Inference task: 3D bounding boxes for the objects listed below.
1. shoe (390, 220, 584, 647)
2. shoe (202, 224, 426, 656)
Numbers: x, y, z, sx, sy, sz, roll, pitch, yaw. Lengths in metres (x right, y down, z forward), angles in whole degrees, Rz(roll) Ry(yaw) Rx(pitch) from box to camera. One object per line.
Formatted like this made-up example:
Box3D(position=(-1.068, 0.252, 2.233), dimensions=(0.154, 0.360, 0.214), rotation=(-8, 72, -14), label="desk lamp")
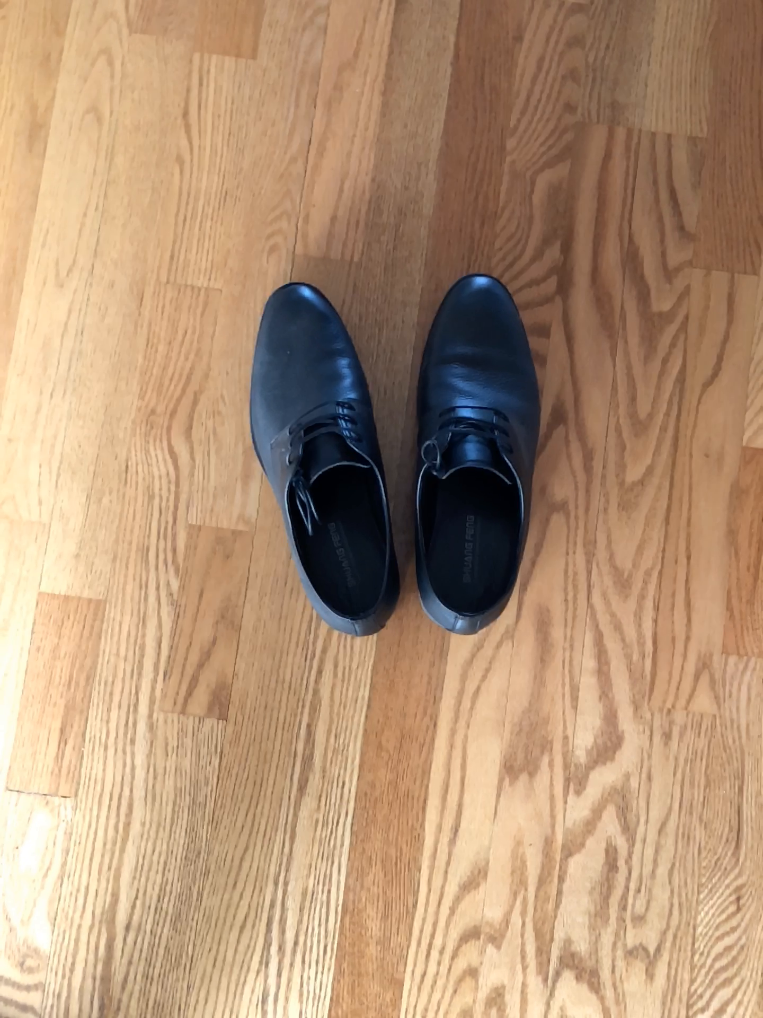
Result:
Box3D(position=(0.077, -0.051, 0.659), dimensions=(0.110, 0.124, 0.299), rotation=(6, 83, 1), label="shoe")
Box3D(position=(-0.051, -0.048, 0.672), dimensions=(0.110, 0.124, 0.304), rotation=(-11, 83, -1), label="shoe")
